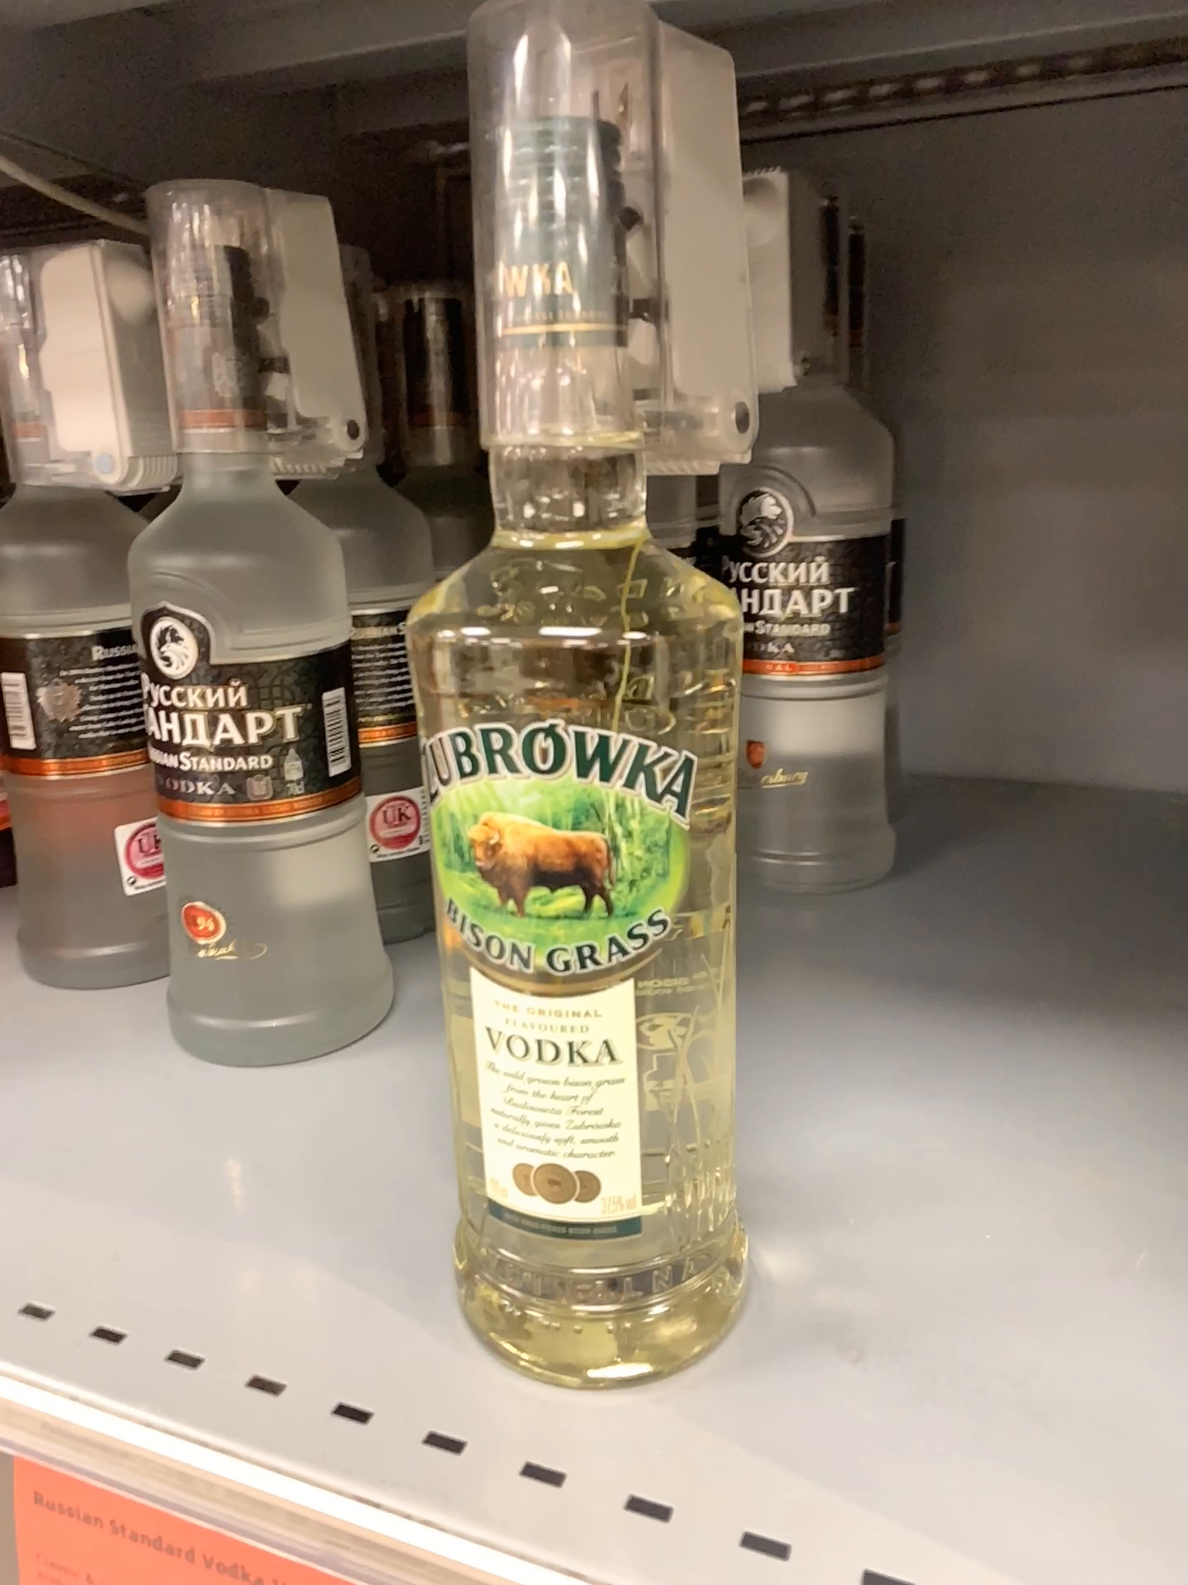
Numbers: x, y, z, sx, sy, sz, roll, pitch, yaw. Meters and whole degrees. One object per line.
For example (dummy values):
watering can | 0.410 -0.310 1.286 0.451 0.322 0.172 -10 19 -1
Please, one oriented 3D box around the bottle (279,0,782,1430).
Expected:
bottle | -0.003 -0.017 0.276 0.076 0.303 0.069 4 16 21
